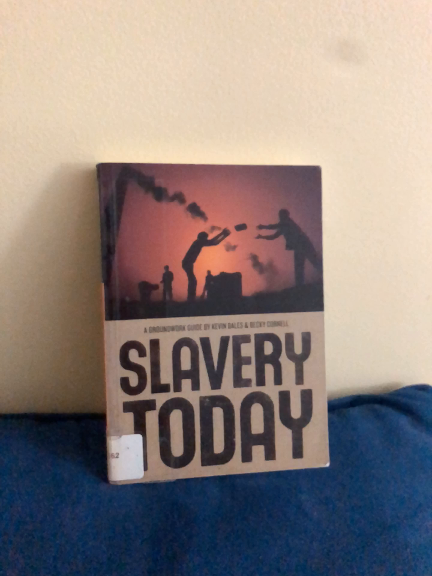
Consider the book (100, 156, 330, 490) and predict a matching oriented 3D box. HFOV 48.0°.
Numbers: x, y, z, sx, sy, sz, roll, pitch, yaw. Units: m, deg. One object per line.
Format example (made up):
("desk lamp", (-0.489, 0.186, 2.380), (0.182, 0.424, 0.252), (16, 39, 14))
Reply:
("book", (0.000, 0.017, 0.288), (0.127, 0.182, 0.028), (-2, 1, -9))
